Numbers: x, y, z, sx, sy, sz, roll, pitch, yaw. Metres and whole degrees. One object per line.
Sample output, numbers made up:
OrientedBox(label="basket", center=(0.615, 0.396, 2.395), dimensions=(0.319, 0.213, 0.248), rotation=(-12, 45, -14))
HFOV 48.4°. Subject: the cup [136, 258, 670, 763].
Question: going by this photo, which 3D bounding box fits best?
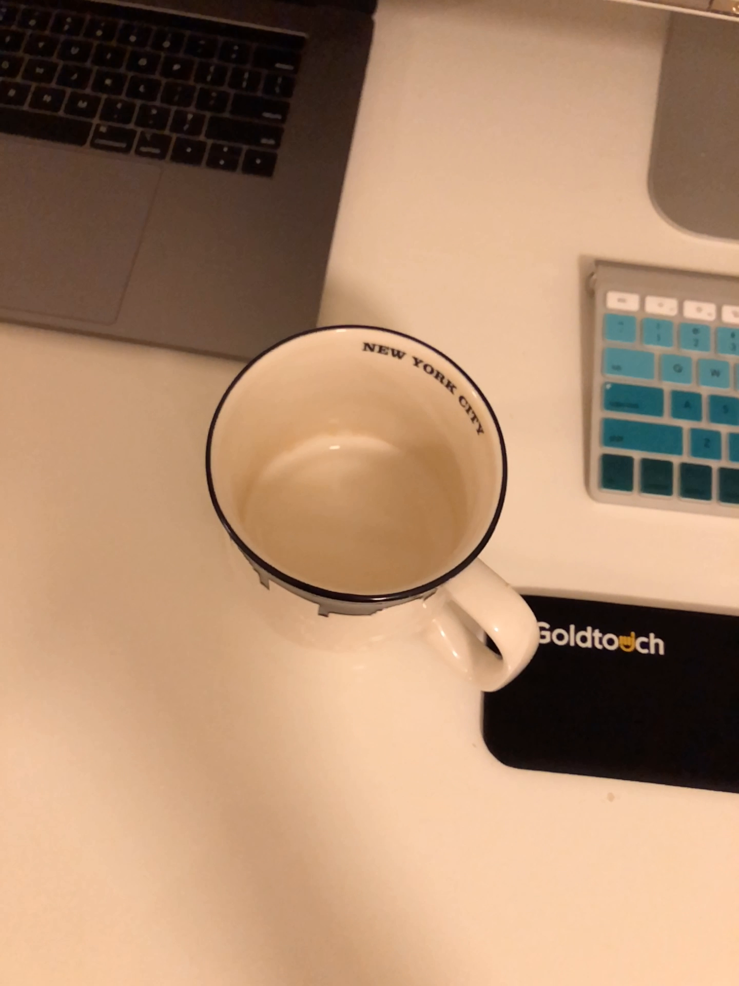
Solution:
OrientedBox(label="cup", center=(0.010, 0.011, 0.314), dimensions=(0.140, 0.090, 0.110), rotation=(35, 70, 9))
